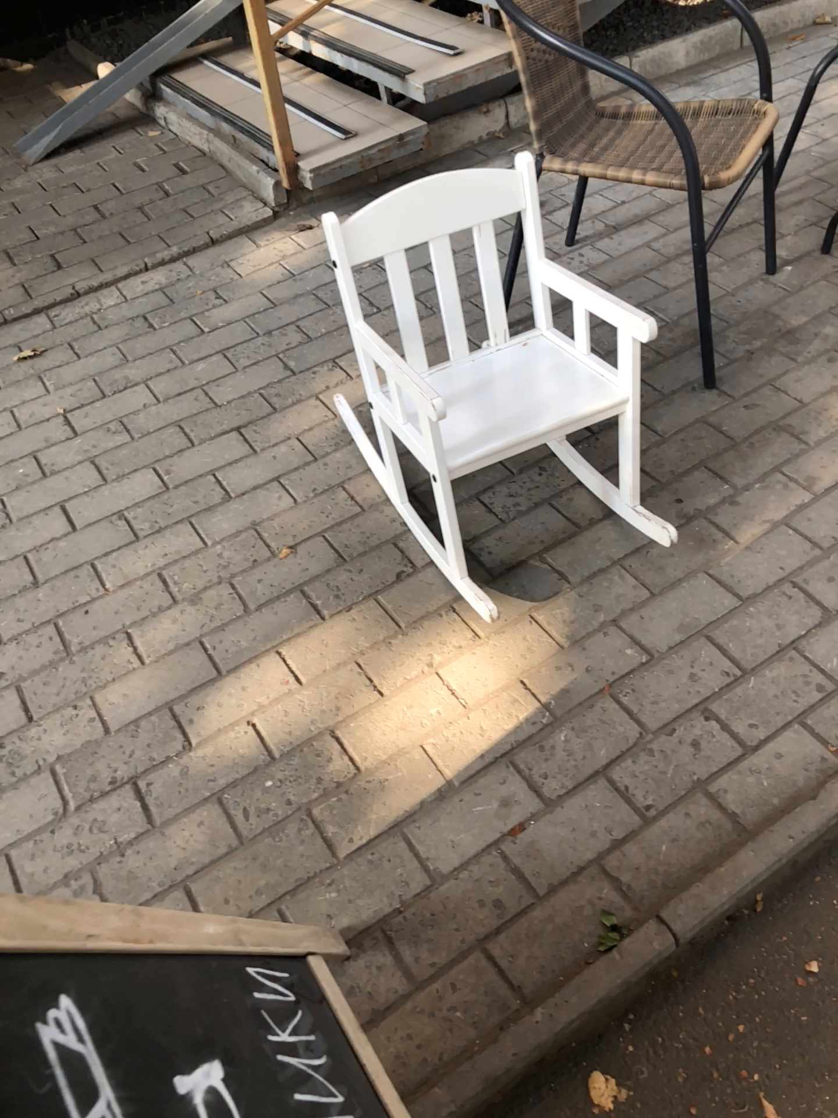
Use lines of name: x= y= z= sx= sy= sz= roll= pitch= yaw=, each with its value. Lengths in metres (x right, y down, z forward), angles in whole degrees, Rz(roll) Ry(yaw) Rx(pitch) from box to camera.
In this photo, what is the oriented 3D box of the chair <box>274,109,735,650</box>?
chair: x=0.104 y=-0.333 z=1.544 sx=0.380 sy=0.518 sz=0.733 roll=-22 pitch=46 yaw=-13
